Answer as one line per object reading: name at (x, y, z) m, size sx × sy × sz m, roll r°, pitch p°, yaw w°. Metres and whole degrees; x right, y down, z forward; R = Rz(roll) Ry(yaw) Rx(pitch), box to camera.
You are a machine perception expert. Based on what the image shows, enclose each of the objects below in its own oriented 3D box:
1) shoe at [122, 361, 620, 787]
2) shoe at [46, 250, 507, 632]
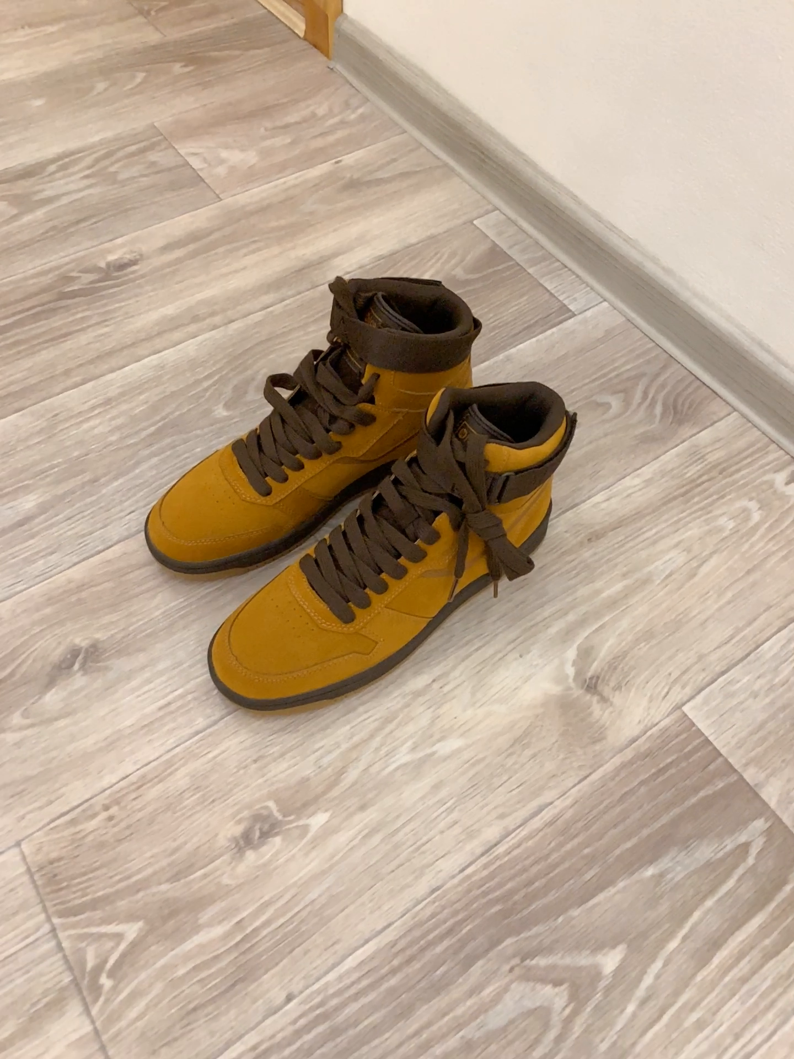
shoe at (-0.010, 0.024, 0.528) m, size 0.280 × 0.139 × 0.101 m, roll -29°, pitch 62°, yaw -21°
shoe at (-0.073, -0.067, 0.577) m, size 0.280 × 0.139 × 0.101 m, roll -29°, pitch 62°, yaw -21°
